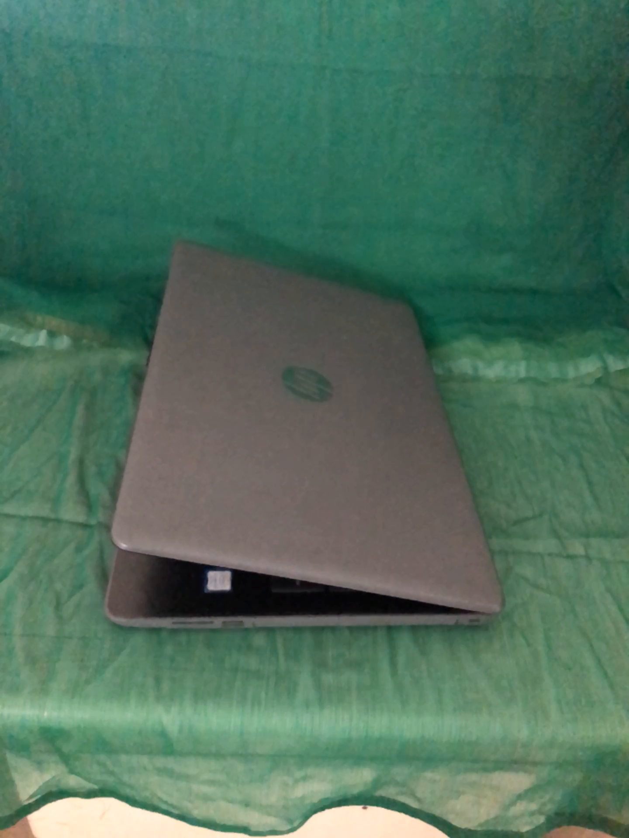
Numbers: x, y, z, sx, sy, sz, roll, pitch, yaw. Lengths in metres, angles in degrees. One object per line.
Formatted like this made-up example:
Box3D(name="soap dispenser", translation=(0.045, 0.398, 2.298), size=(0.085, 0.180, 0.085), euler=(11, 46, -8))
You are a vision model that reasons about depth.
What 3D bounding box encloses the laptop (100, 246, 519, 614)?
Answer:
Box3D(name="laptop", translation=(-0.010, -0.021, 0.544), size=(0.231, 0.066, 0.361), euler=(2, 39, -4))
